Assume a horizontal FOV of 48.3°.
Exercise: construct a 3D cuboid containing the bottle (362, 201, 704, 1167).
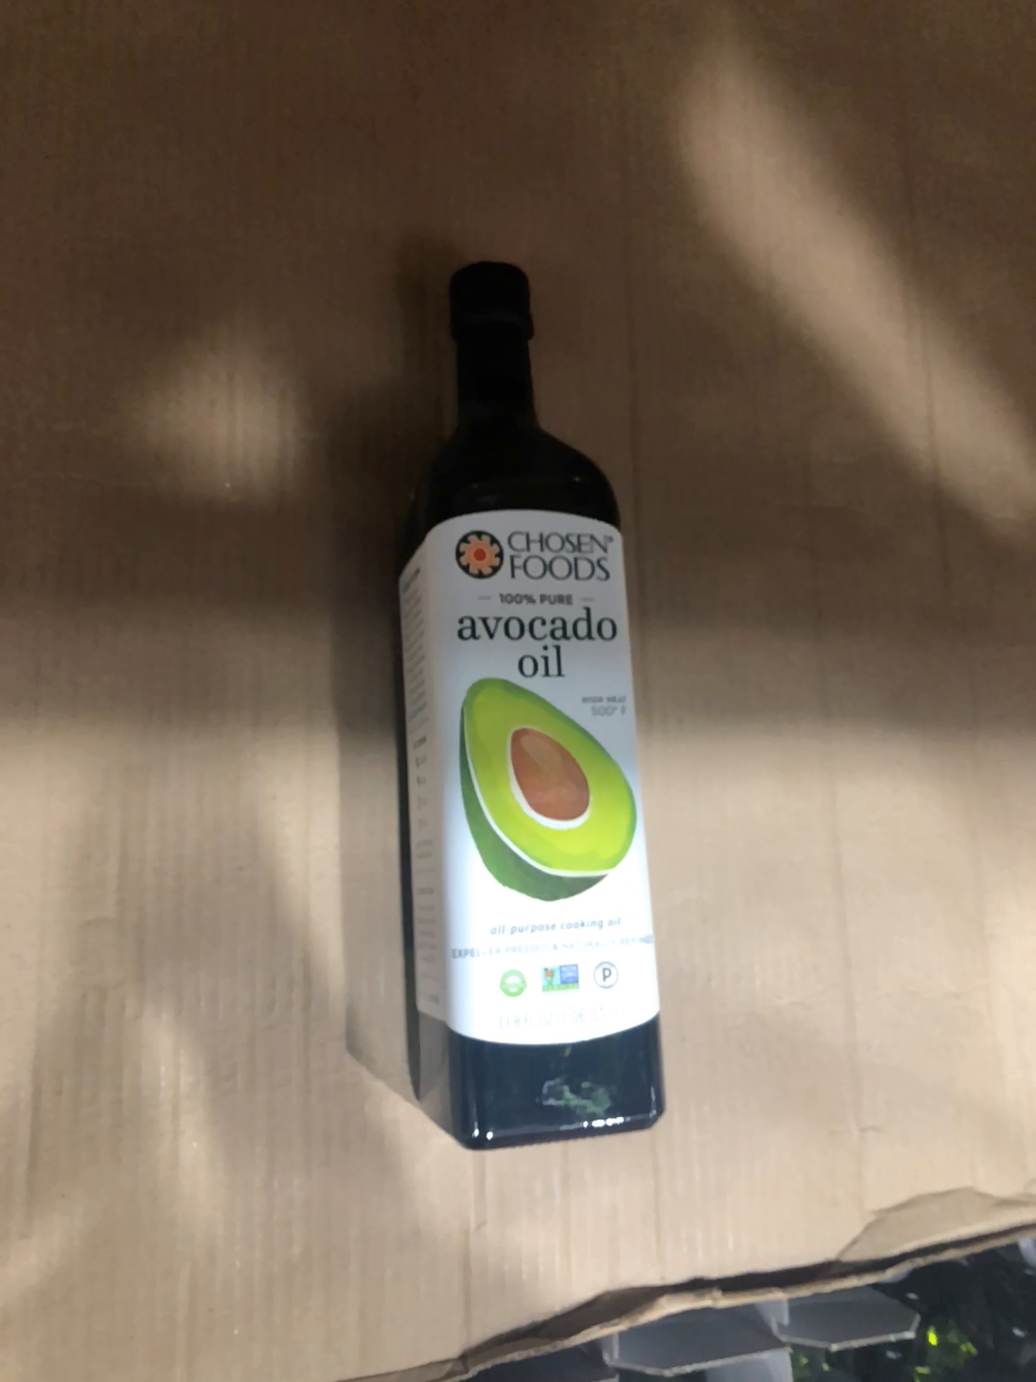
[{"bbox_3d":[-0.002,-0.007,0.423,0.087,0.074,0.320,0,79,-18],"label":"bottle"}]
